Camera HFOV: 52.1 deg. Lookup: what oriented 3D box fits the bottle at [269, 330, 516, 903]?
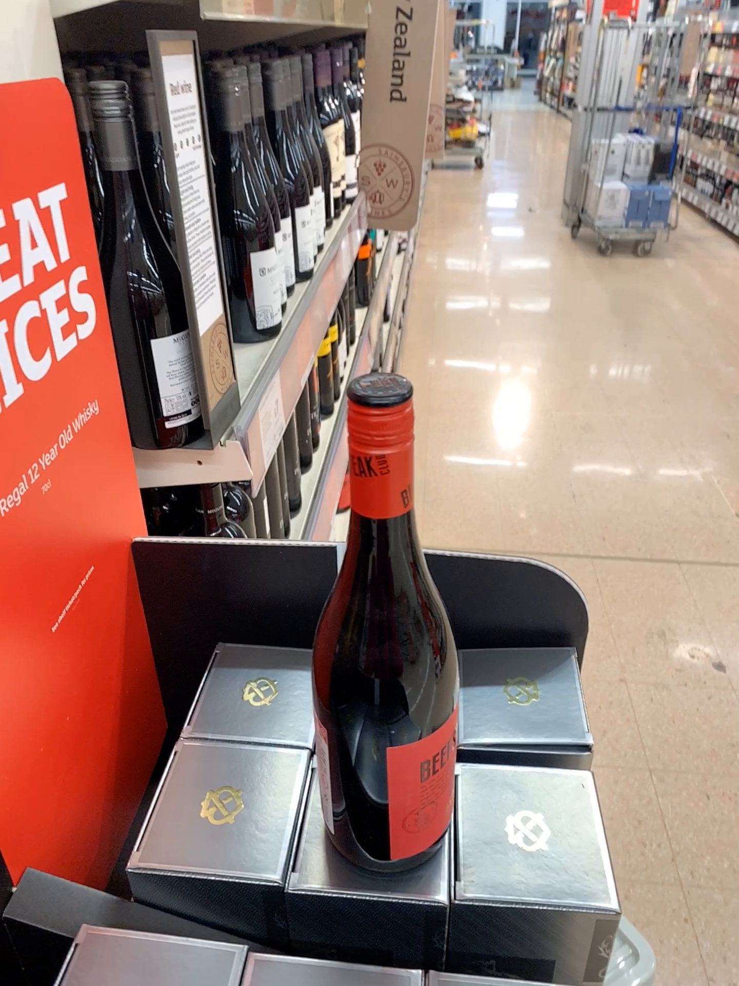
[{"bbox_3d":[0.013,0.073,0.383,0.080,0.284,0.083,0,31,0],"label":"bottle"}]
